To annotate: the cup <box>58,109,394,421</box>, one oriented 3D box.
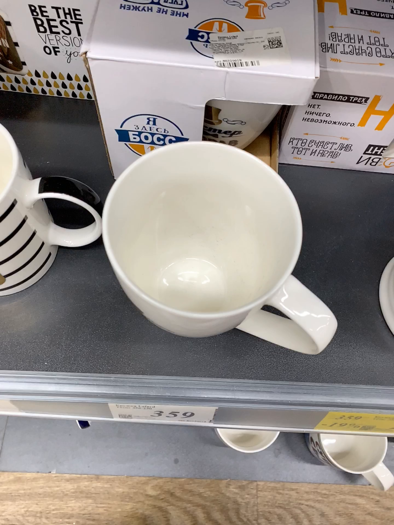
[{"bbox_3d":[0.015,0.007,0.232,0.131,0.093,0.093,34,69,11],"label":"cup"}]
